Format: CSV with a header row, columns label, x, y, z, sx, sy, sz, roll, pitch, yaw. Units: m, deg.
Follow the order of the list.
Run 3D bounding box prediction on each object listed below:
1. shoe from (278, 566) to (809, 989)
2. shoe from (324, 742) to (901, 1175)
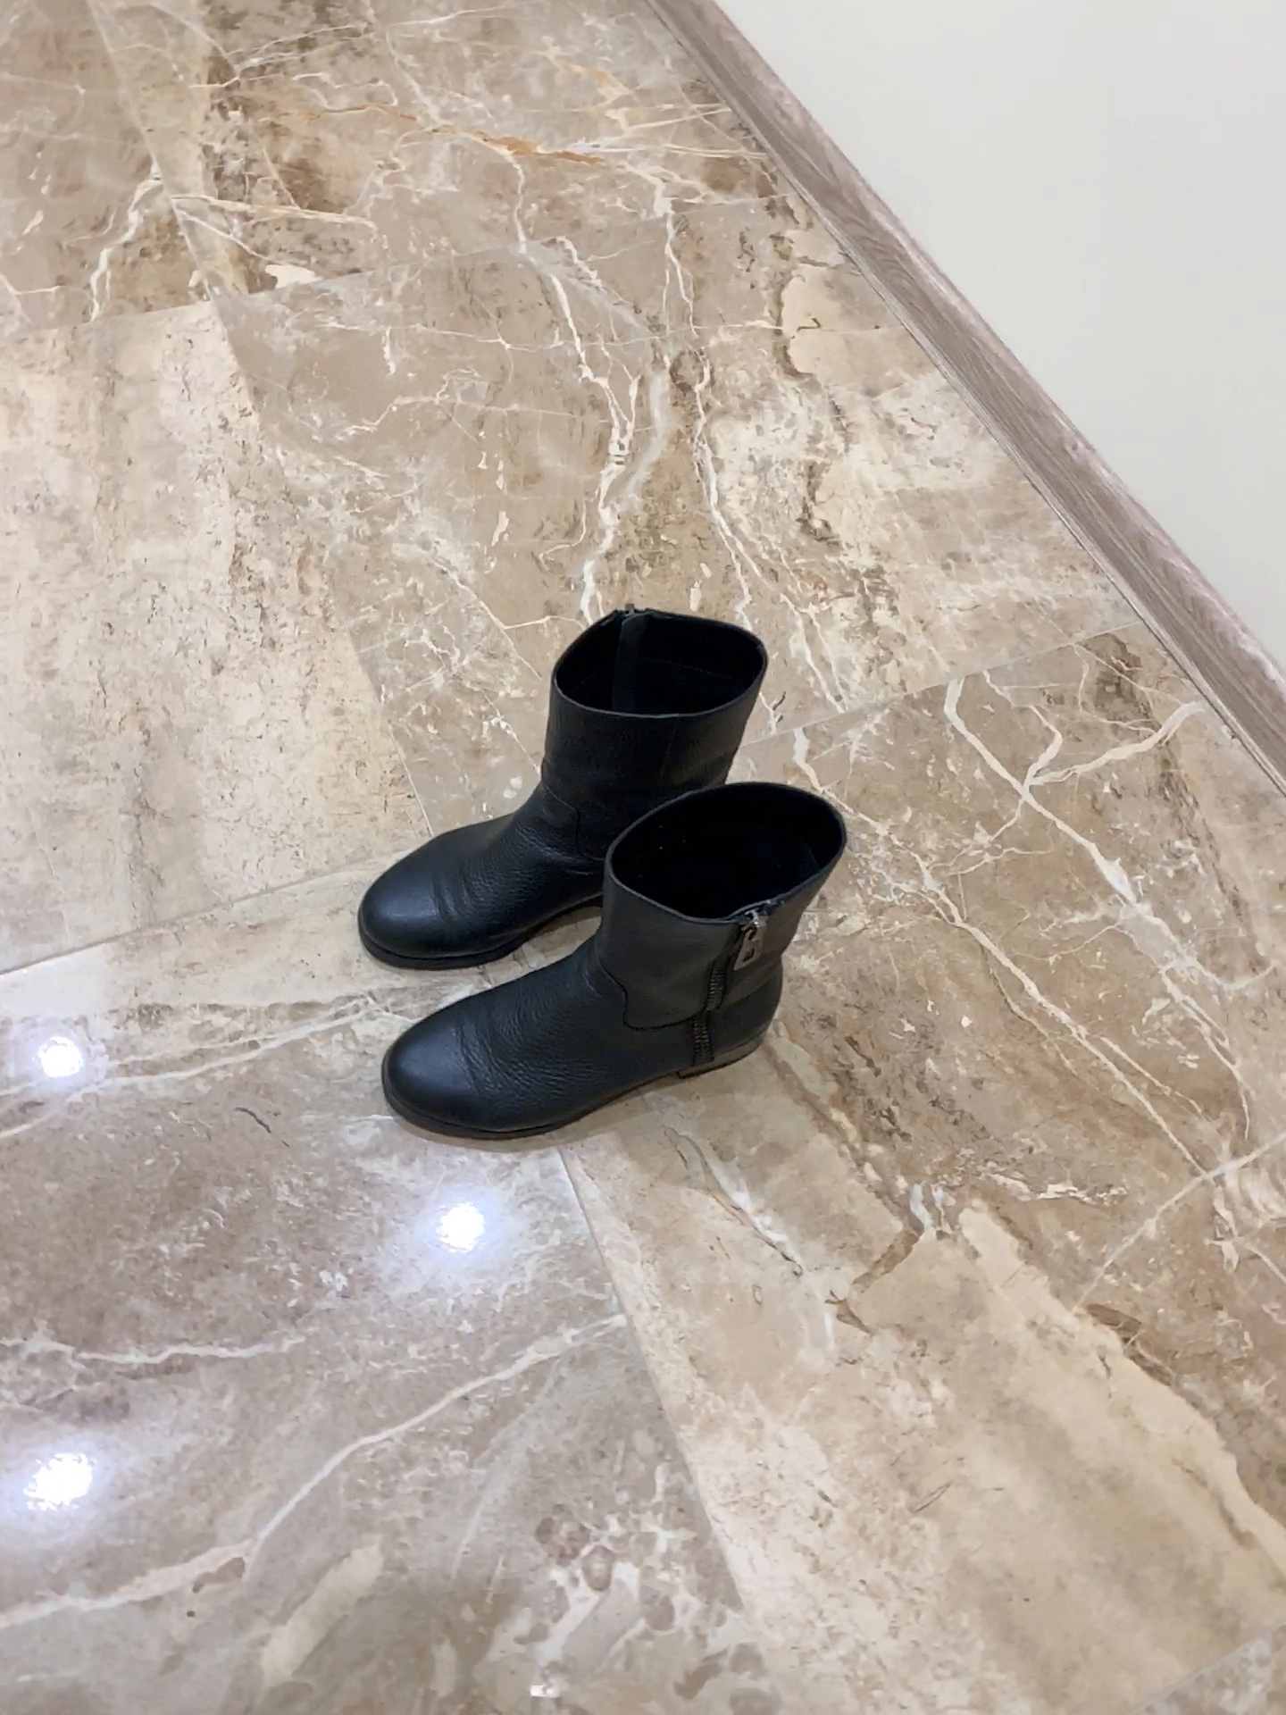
label,x,y,z,sx,sy,sz,roll,pitch,yaw
shoe,-0.058,-0.041,0.769,0.260,0.209,0.090,-13,60,-13
shoe,-0.021,0.061,0.714,0.260,0.209,0.090,-13,60,-13
